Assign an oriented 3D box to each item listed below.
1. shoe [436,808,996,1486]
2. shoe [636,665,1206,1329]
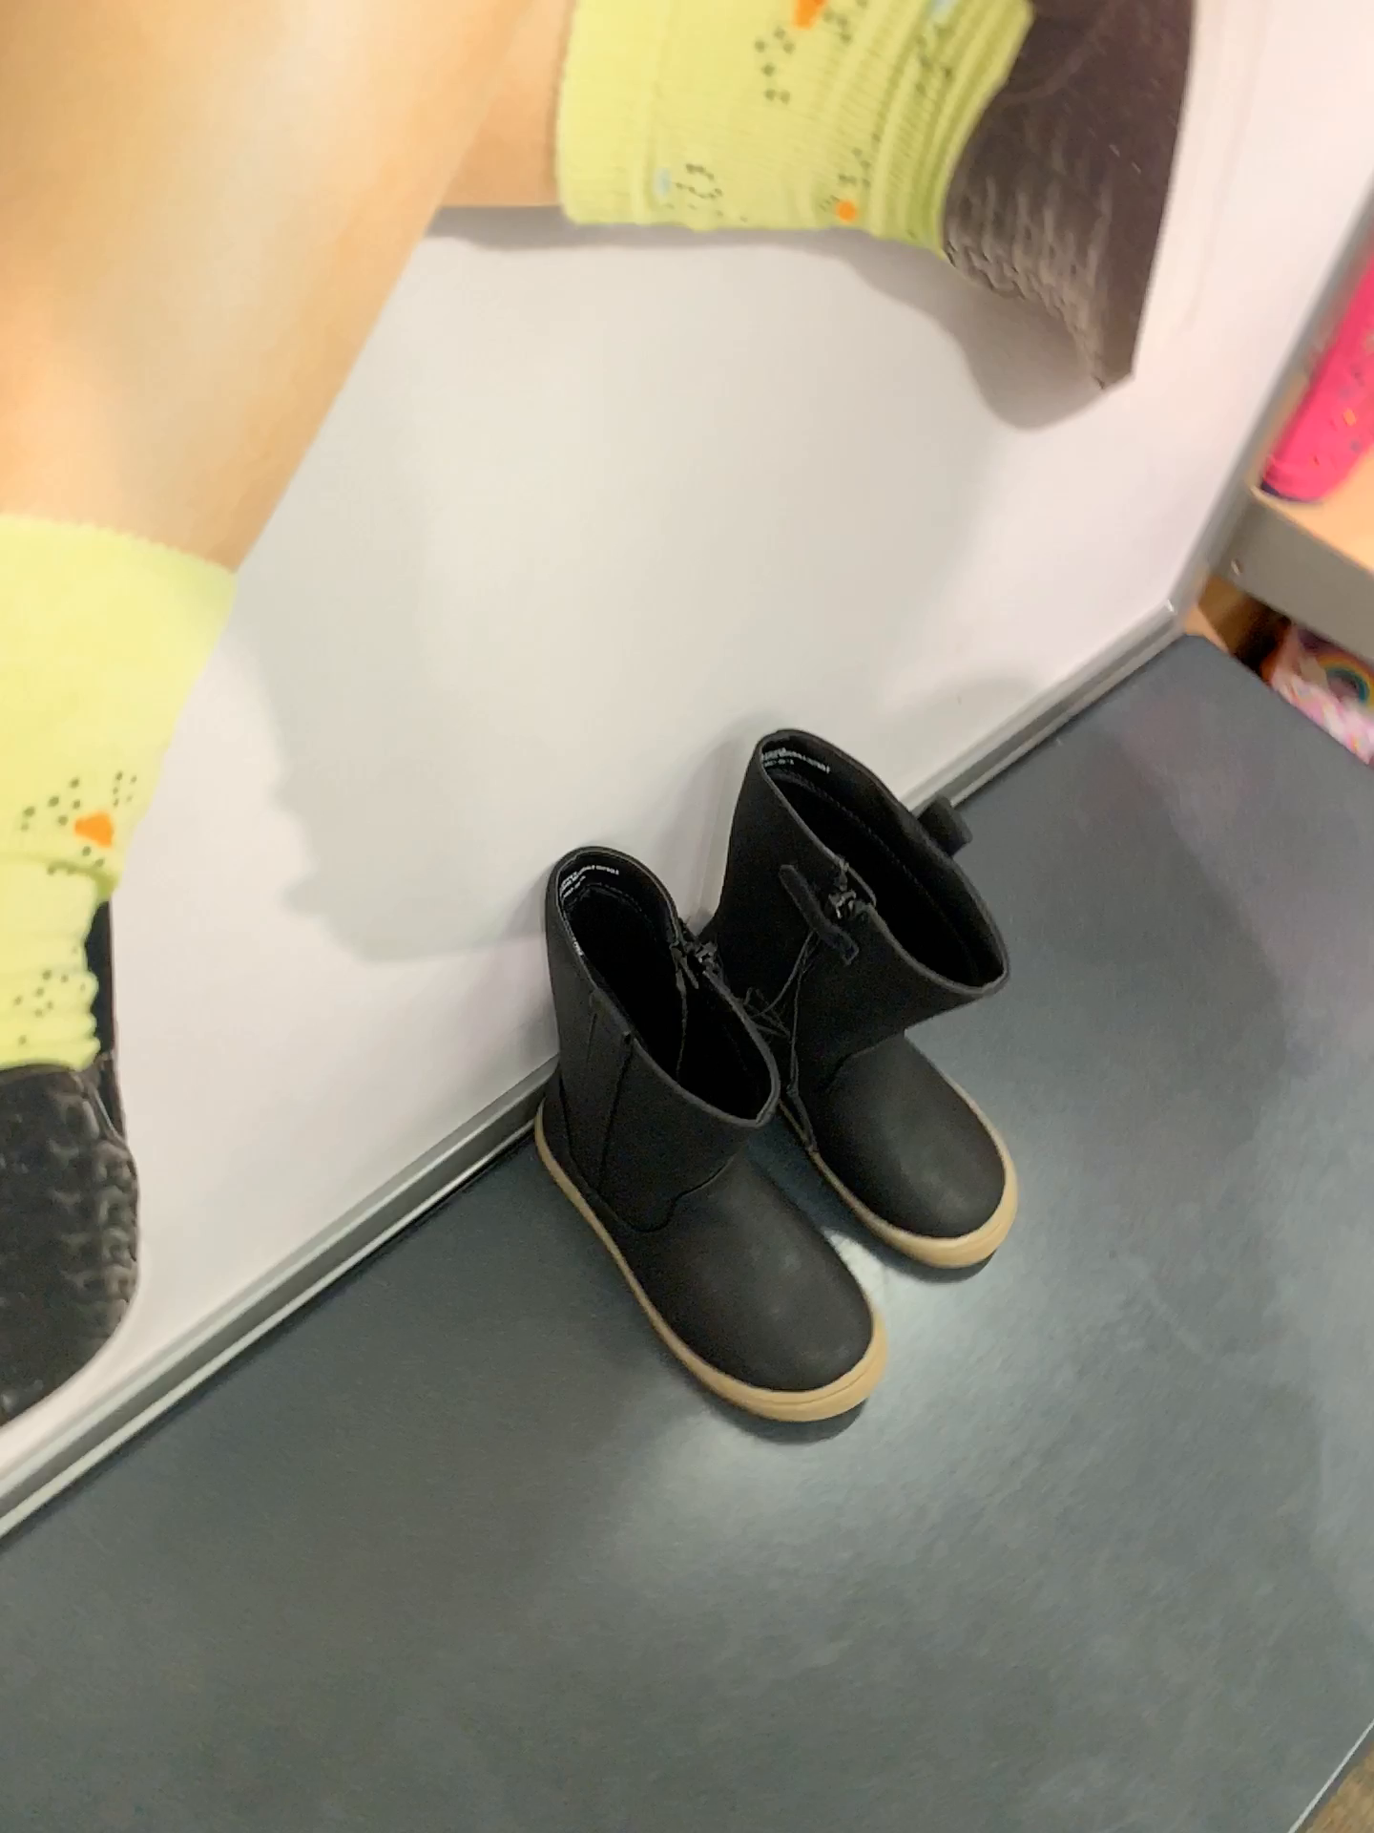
[{"bbox_3d":[0.000,0.098,0.545,0.080,0.199,0.190,-34,67,-21],"label":"shoe"},{"bbox_3d":[0.073,0.041,0.569,0.080,0.199,0.190,-36,67,-22],"label":"shoe"}]
